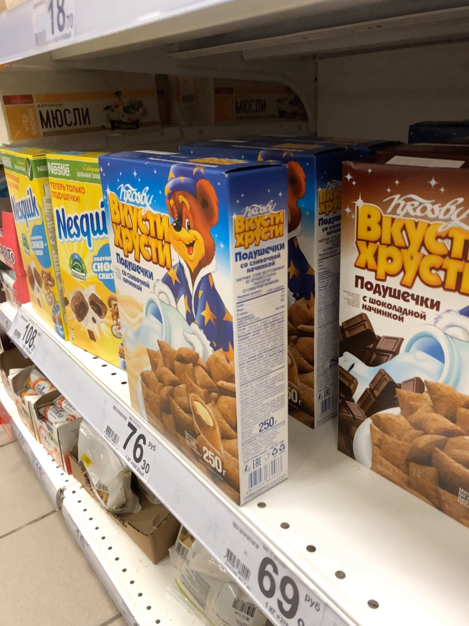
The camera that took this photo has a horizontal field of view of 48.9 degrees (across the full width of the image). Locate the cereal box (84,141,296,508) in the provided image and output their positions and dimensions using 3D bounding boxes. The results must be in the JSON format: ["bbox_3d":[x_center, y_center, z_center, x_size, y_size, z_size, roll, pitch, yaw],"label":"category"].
[{"bbox_3d":[-0.038,-0.006,0.395,0.050,0.229,0.191,-18,27,-33],"label":"cereal box"}]
